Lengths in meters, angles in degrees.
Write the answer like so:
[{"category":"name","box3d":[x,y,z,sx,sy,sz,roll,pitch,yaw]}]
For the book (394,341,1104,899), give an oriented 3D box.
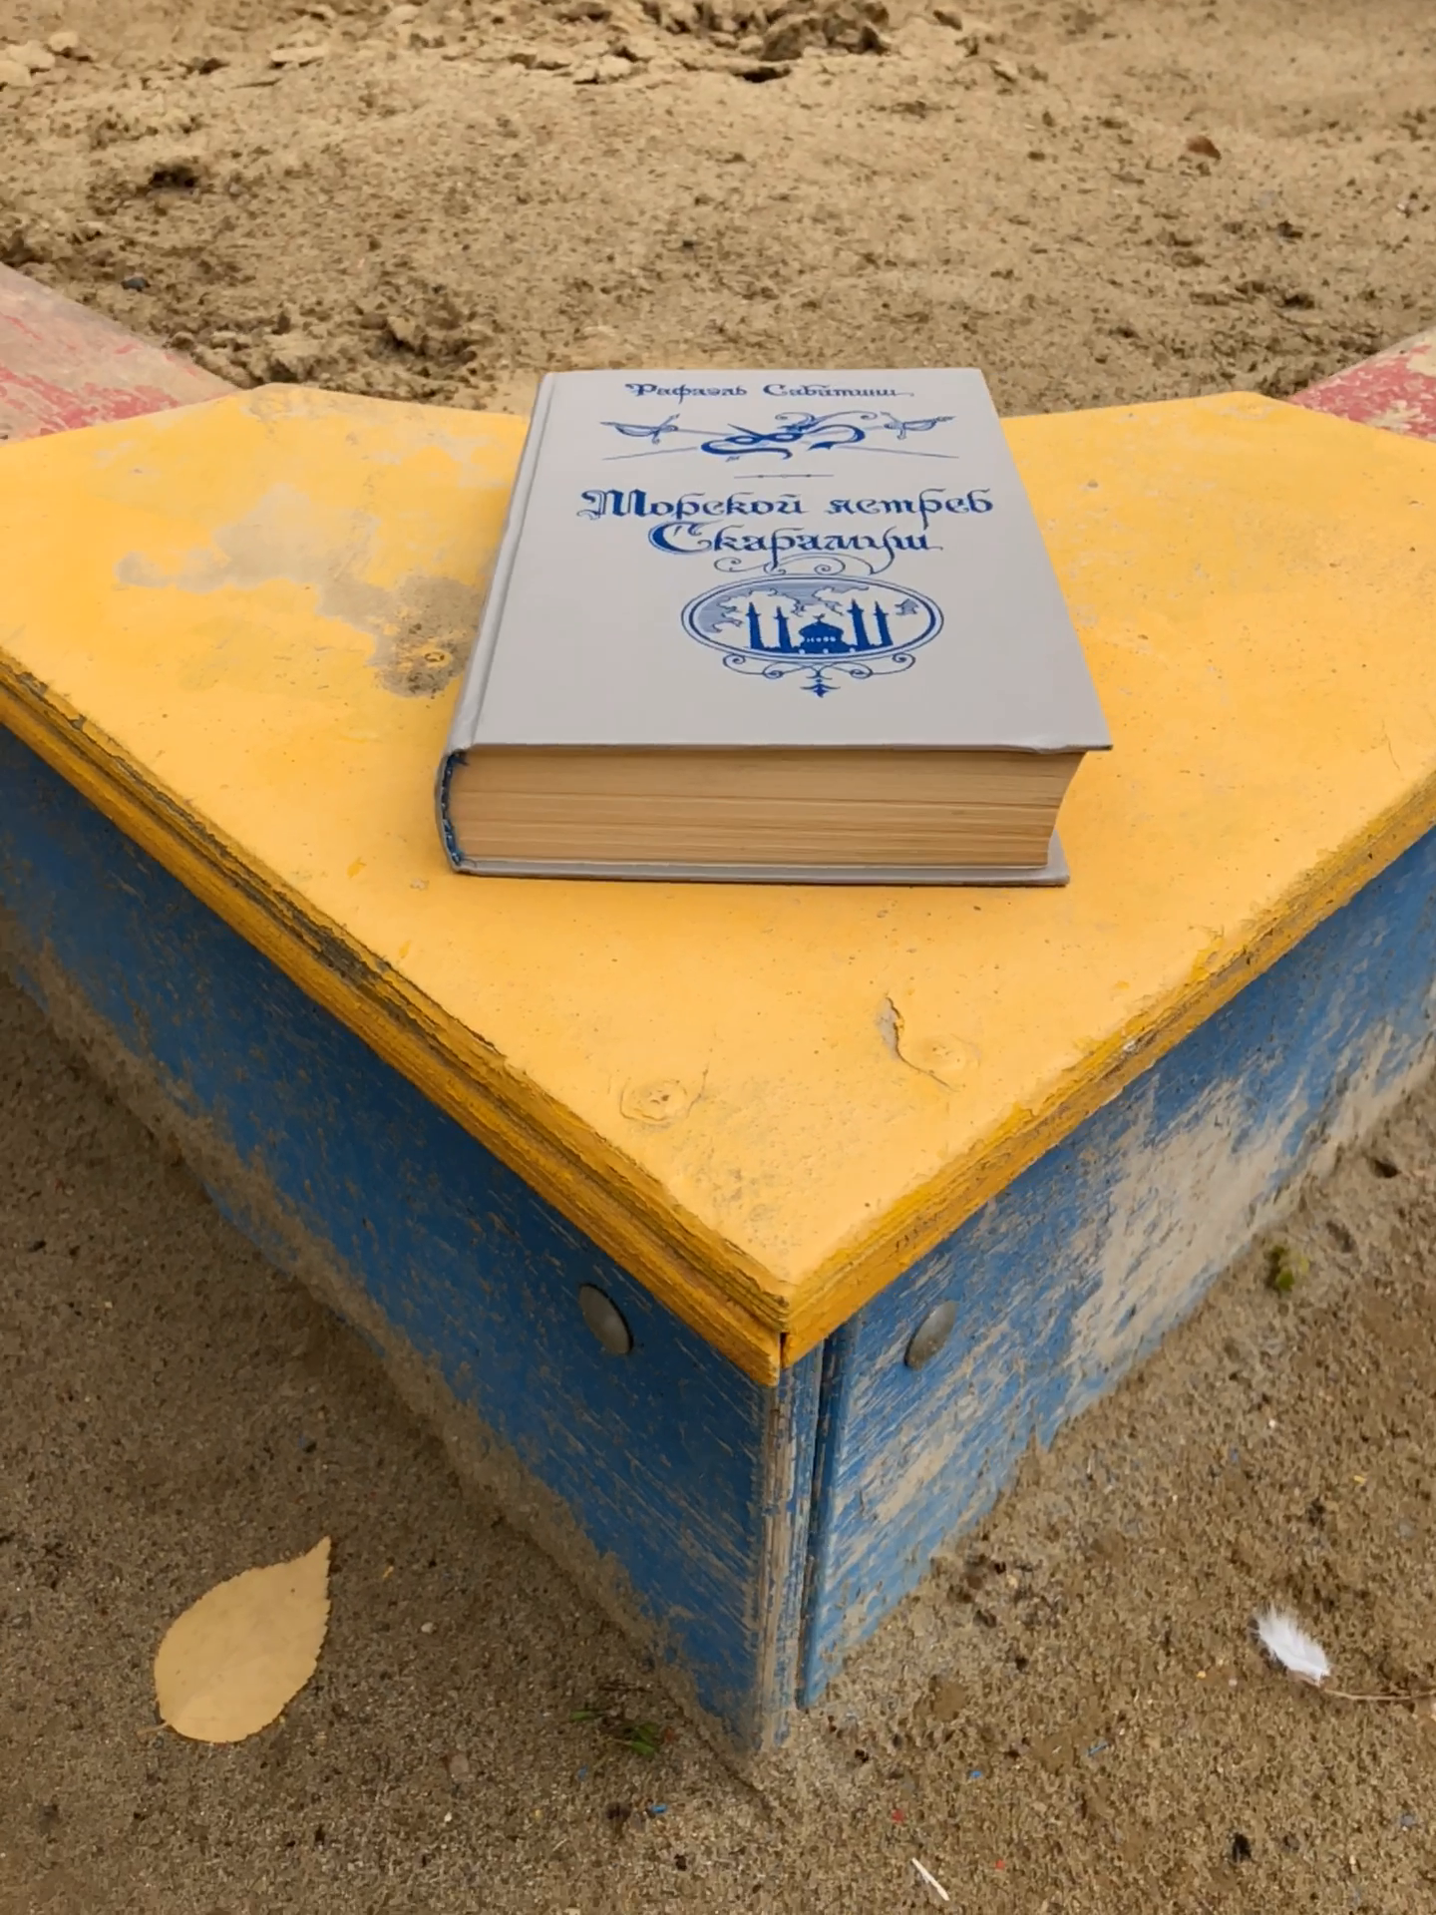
[{"category":"book","box3d":[0.005,-0.095,0.394,0.135,0.037,0.211,1,41,-1]}]
